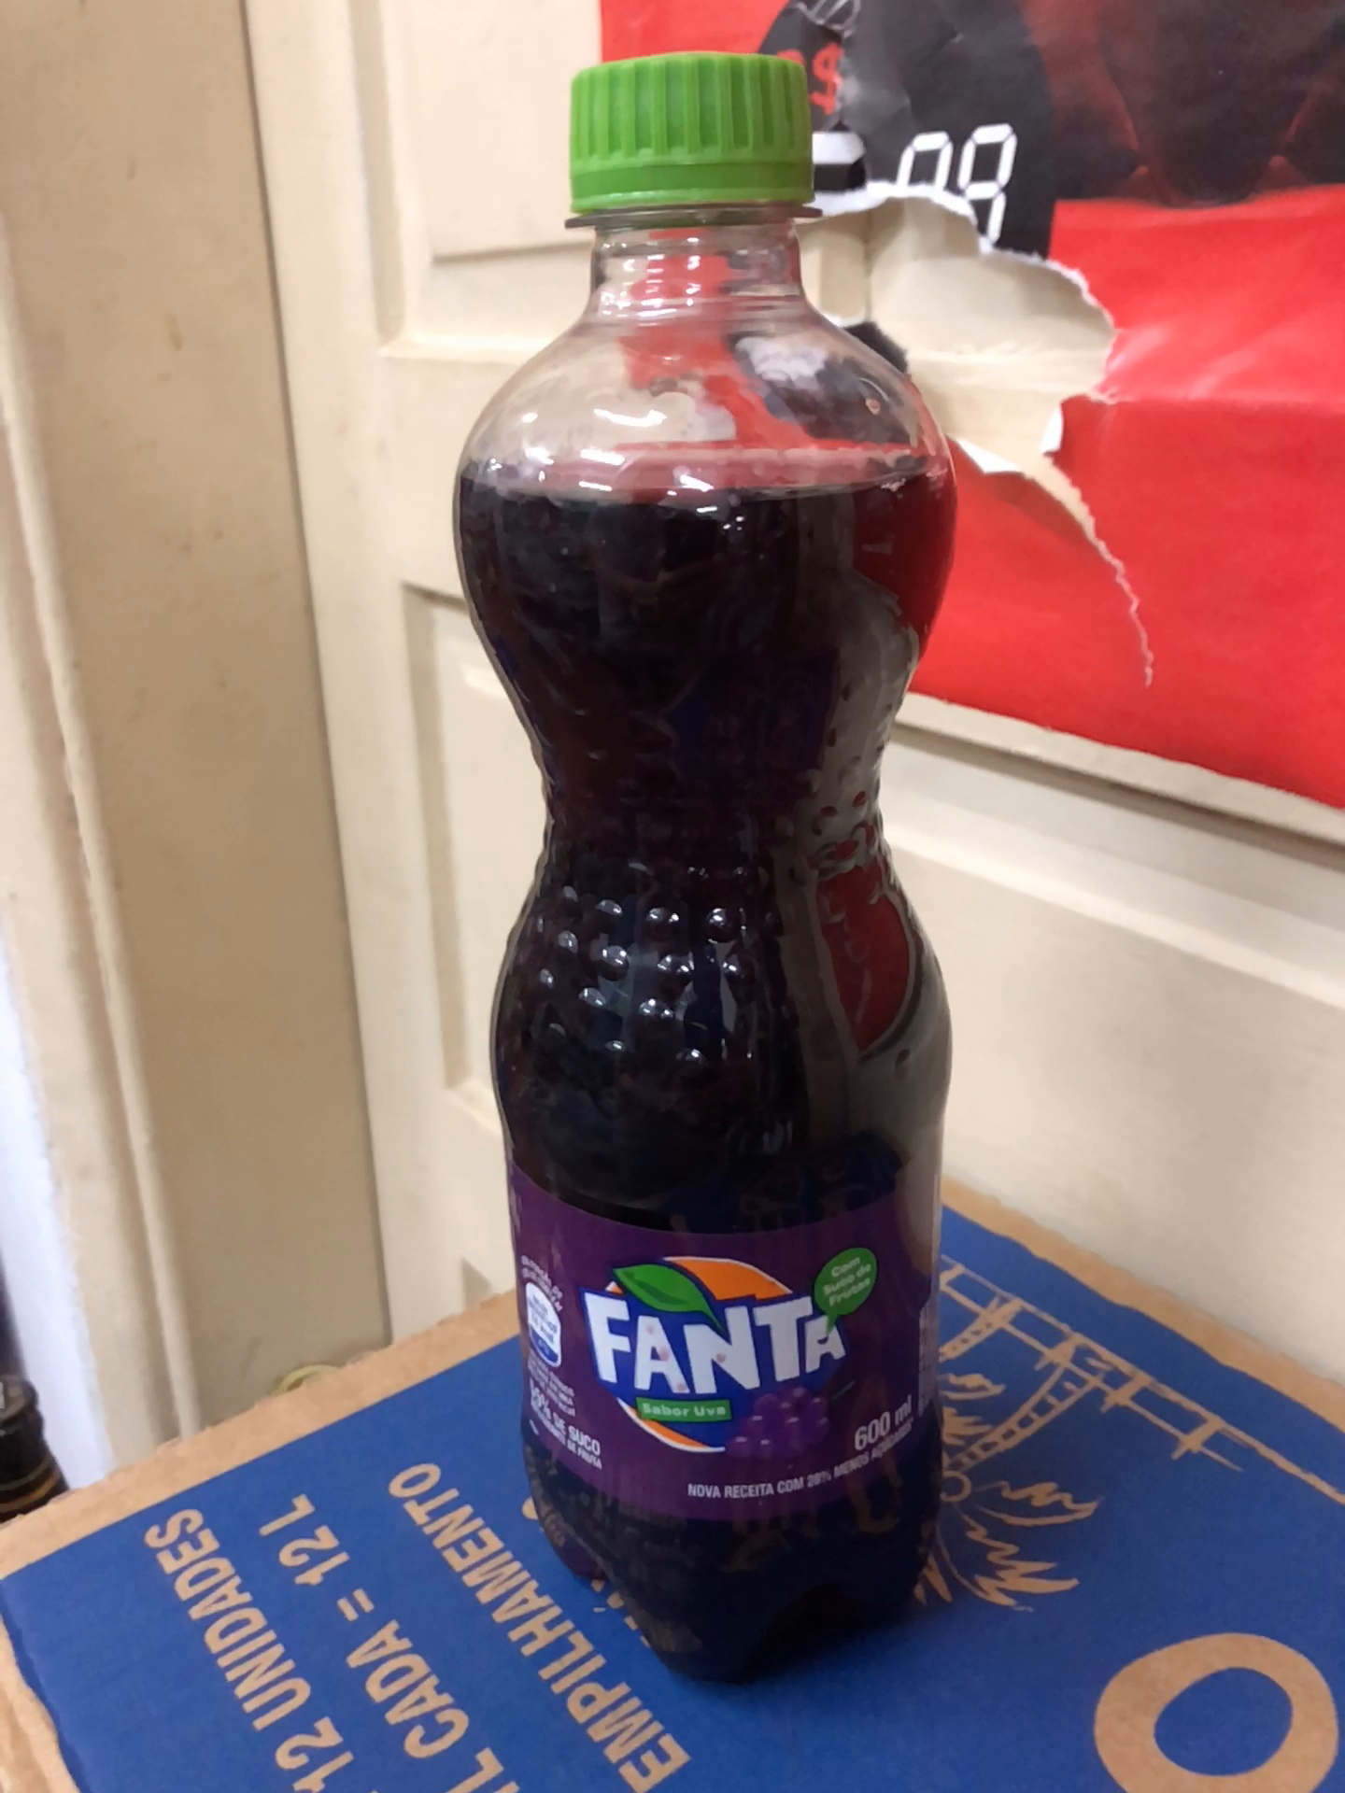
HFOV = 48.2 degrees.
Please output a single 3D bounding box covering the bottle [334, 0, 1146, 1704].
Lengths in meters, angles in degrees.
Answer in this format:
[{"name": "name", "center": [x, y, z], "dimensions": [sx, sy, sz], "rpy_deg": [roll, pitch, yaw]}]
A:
[{"name": "bottle", "center": [0.011, 0.001, 0.221], "dimensions": [0.080, 0.229, 0.070], "rpy_deg": [0, 20, 4]}]
